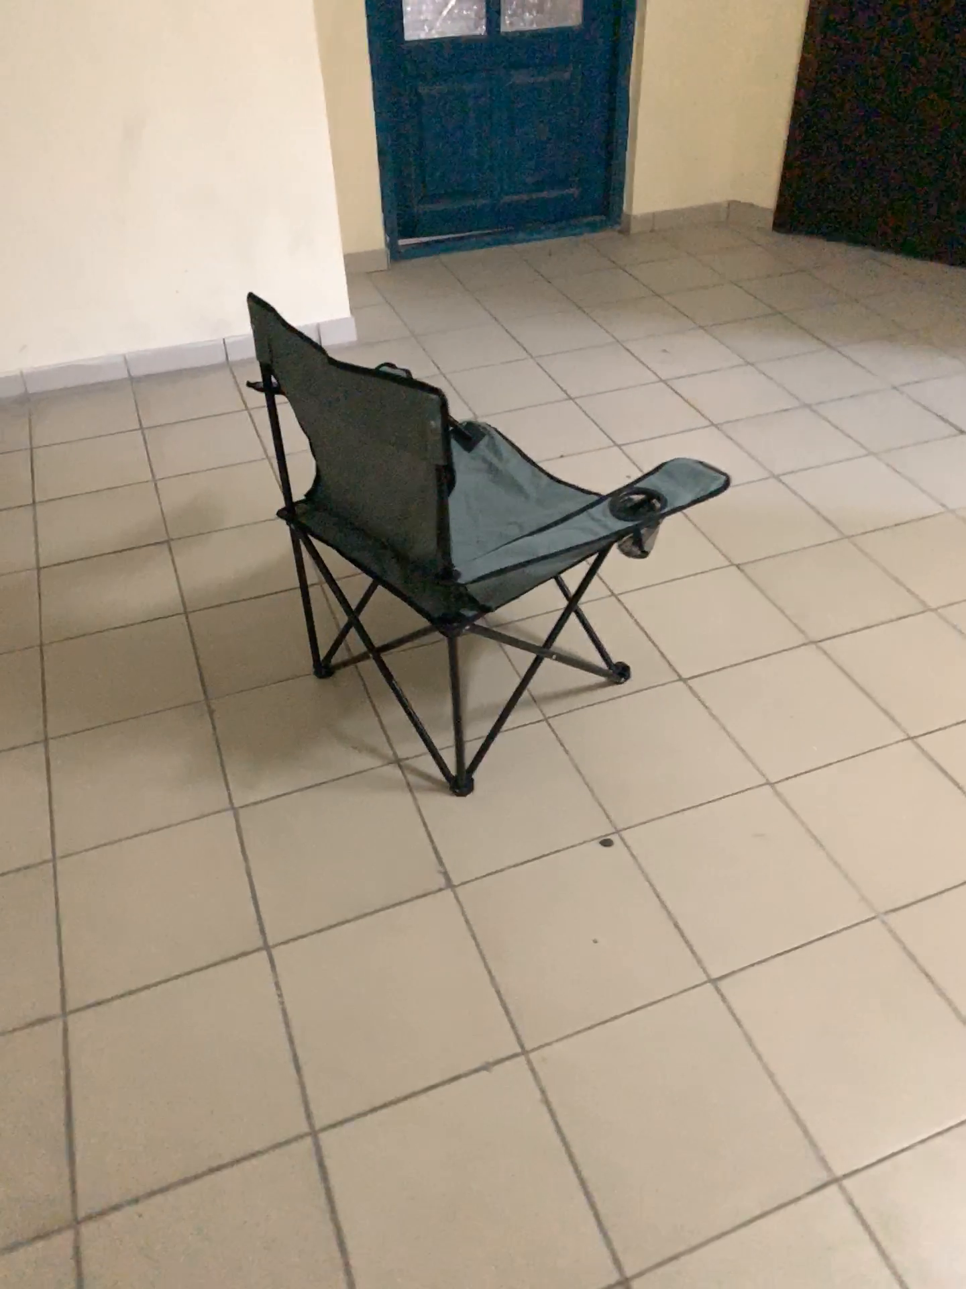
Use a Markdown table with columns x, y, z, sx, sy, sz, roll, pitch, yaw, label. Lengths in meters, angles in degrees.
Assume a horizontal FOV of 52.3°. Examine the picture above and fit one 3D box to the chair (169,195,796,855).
| x | y | z | sx | sy | sz | roll | pitch | yaw | label |
| --- | --- | --- | --- | --- | --- | --- | --- | --- | --- |
| -0.019 | -0.254 | 1.746 | 0.561 | 0.756 | 0.803 | -32 | 49 | -31 | chair |
